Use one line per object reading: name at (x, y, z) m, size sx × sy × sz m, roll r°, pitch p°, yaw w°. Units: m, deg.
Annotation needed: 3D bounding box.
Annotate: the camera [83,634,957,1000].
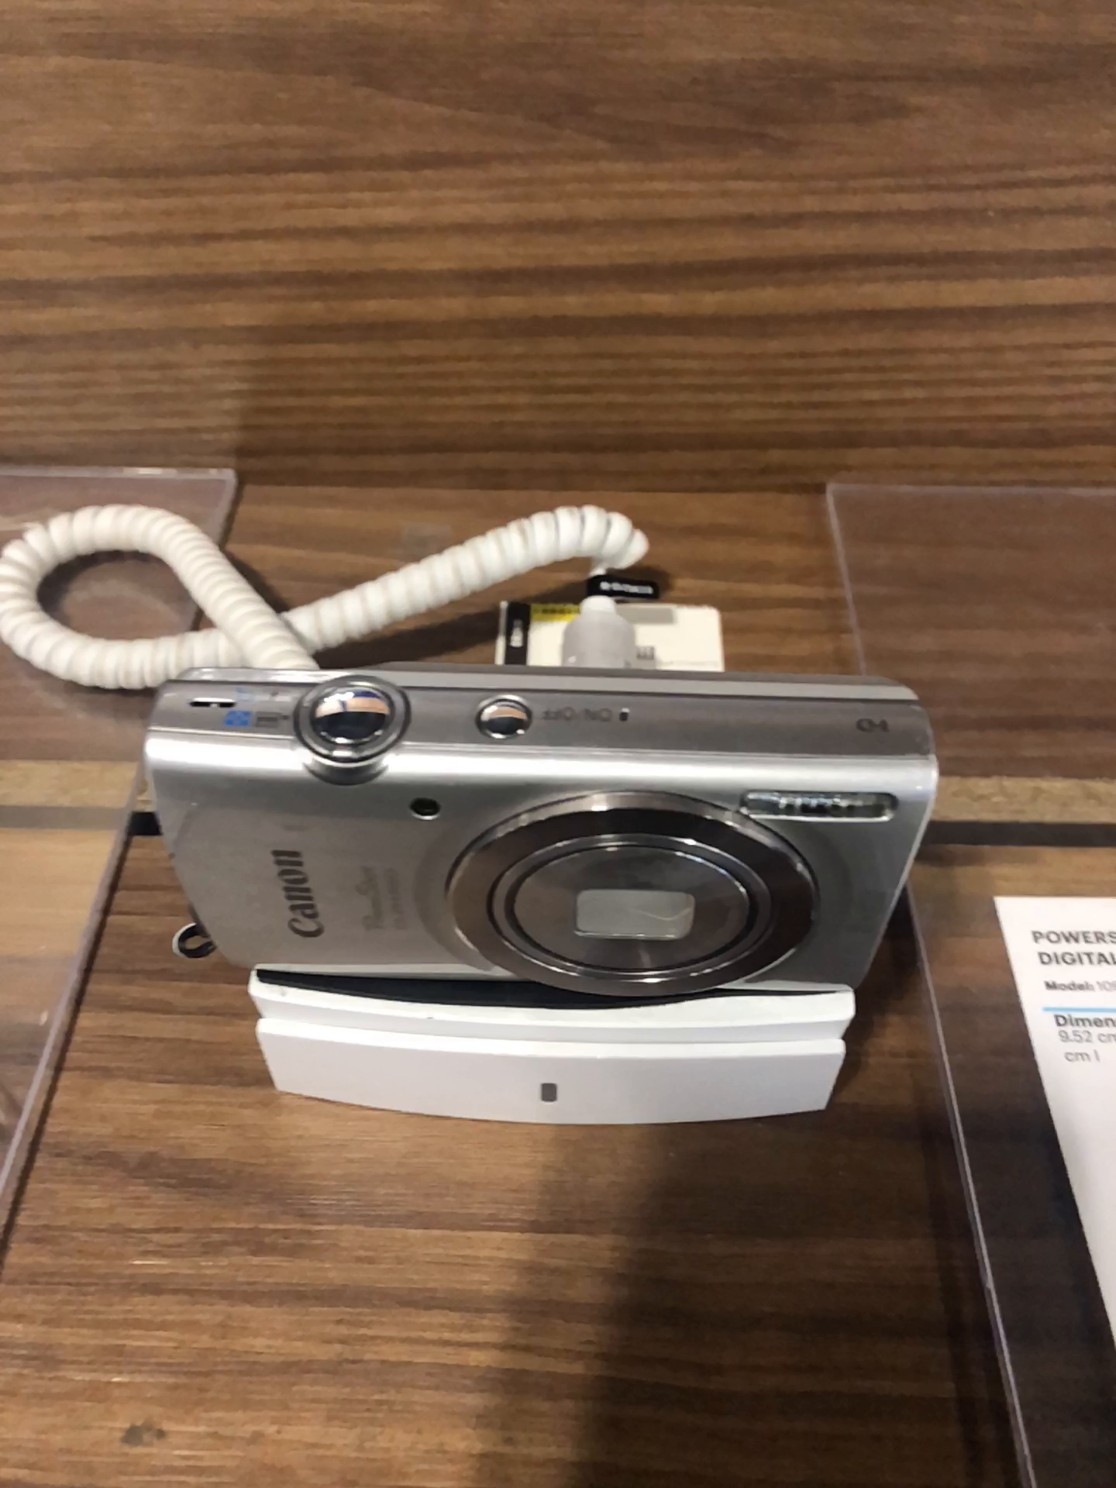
camera at (-0.004, 0.011, 0.168) m, size 0.100 × 0.050 × 0.020 m, roll 2°, pitch 50°, yaw 2°
